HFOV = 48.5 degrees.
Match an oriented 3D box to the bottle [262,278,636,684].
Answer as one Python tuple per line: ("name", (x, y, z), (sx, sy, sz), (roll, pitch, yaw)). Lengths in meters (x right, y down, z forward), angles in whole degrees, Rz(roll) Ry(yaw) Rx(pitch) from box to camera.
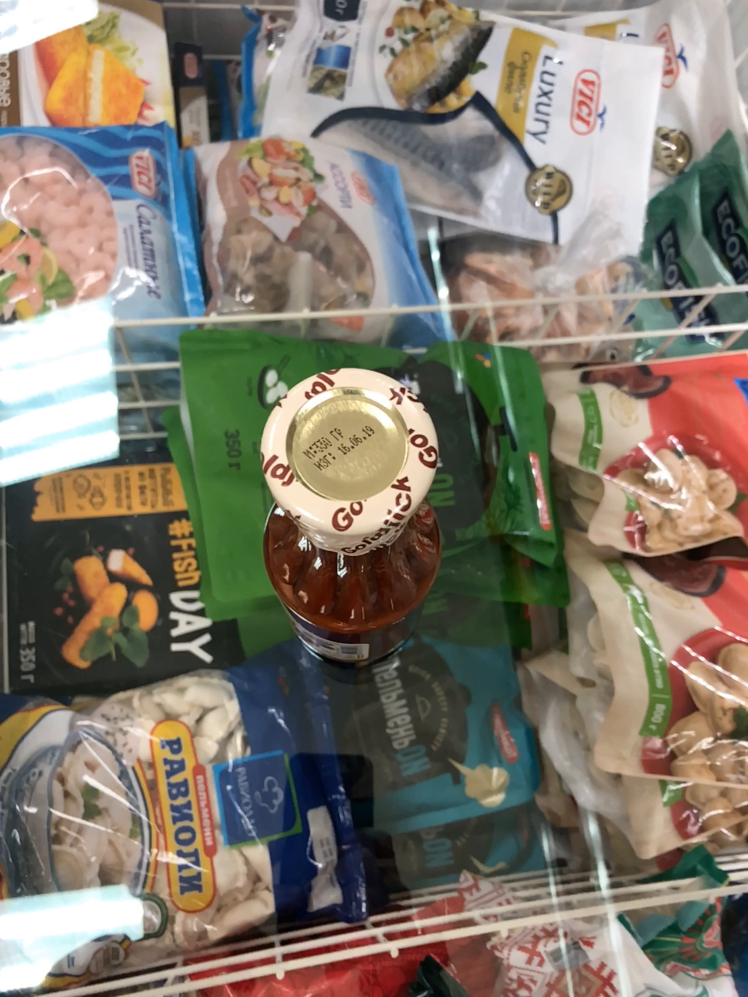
("bottle", (0.011, 0.011, 0.291), (0.080, 0.180, 0.080), (1, 72, -4))
